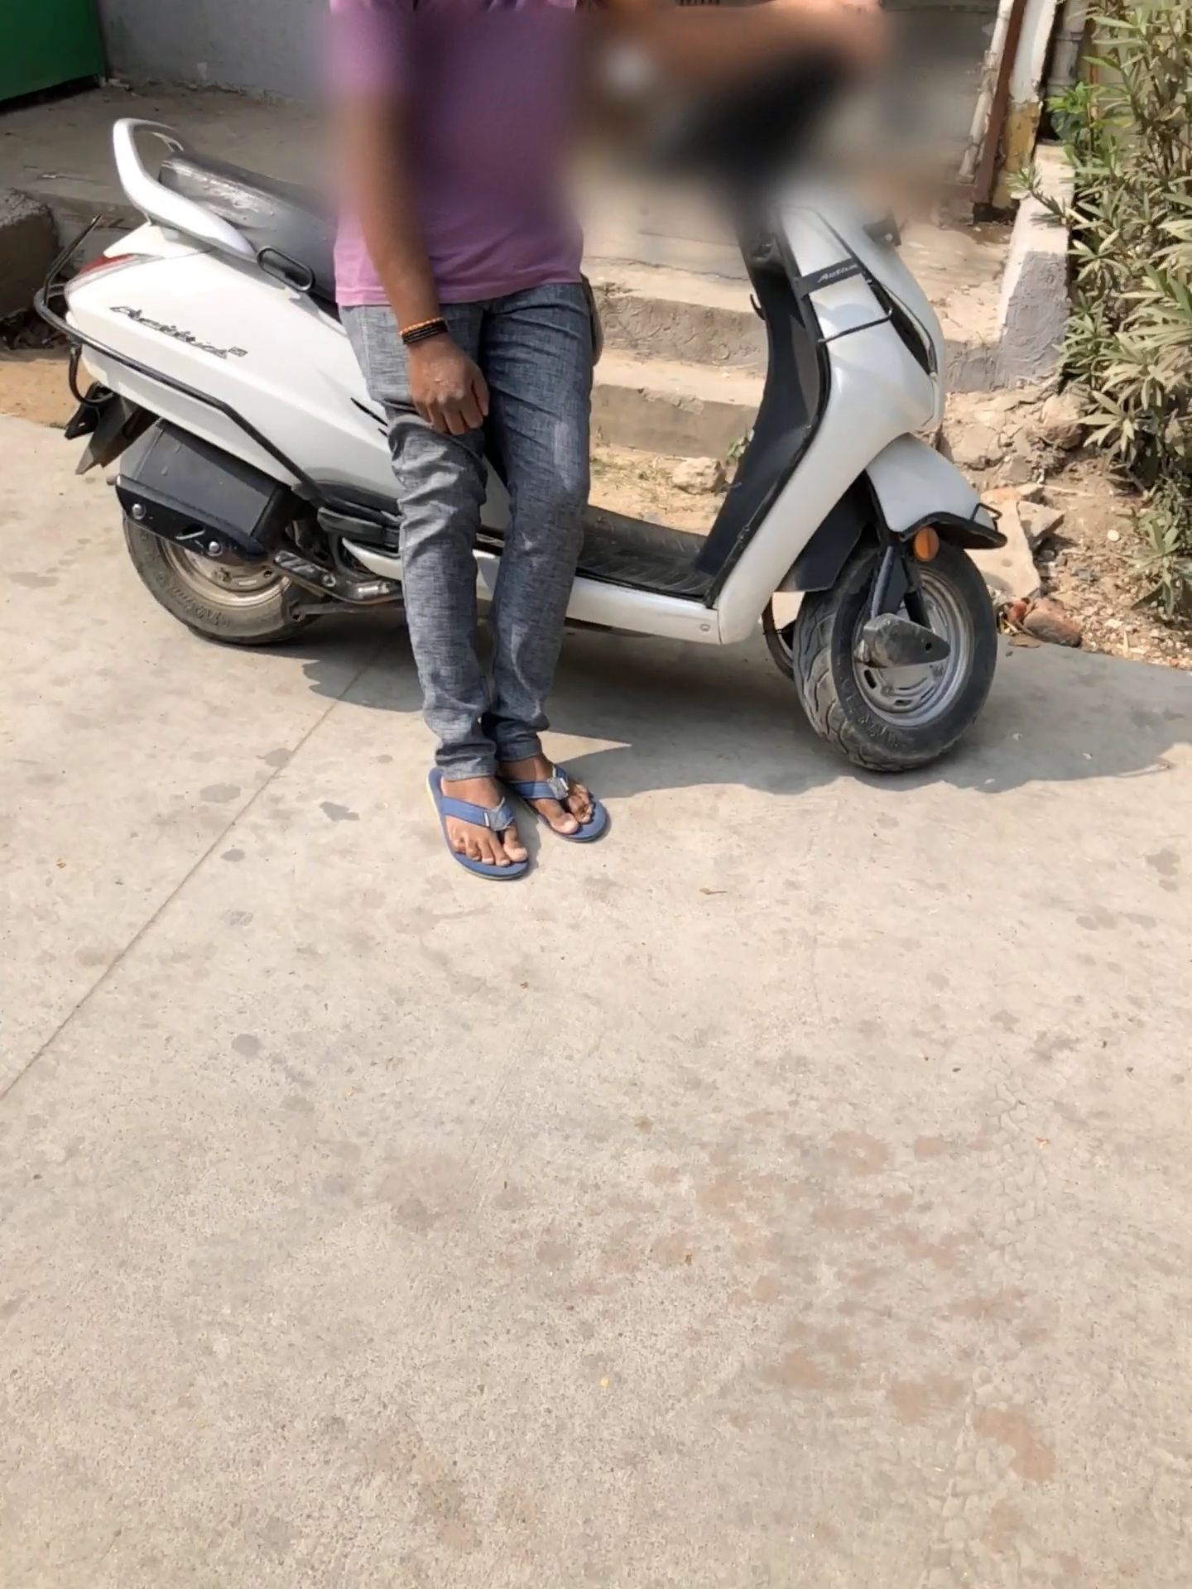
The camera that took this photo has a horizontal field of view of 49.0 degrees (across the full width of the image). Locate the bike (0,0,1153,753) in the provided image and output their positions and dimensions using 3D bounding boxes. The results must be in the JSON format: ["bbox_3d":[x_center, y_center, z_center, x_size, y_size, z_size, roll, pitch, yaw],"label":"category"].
[{"bbox_3d":[-0.032,-0.751,2.224,1.520,1.007,0.651,6,37,3],"label":"bike"}]
